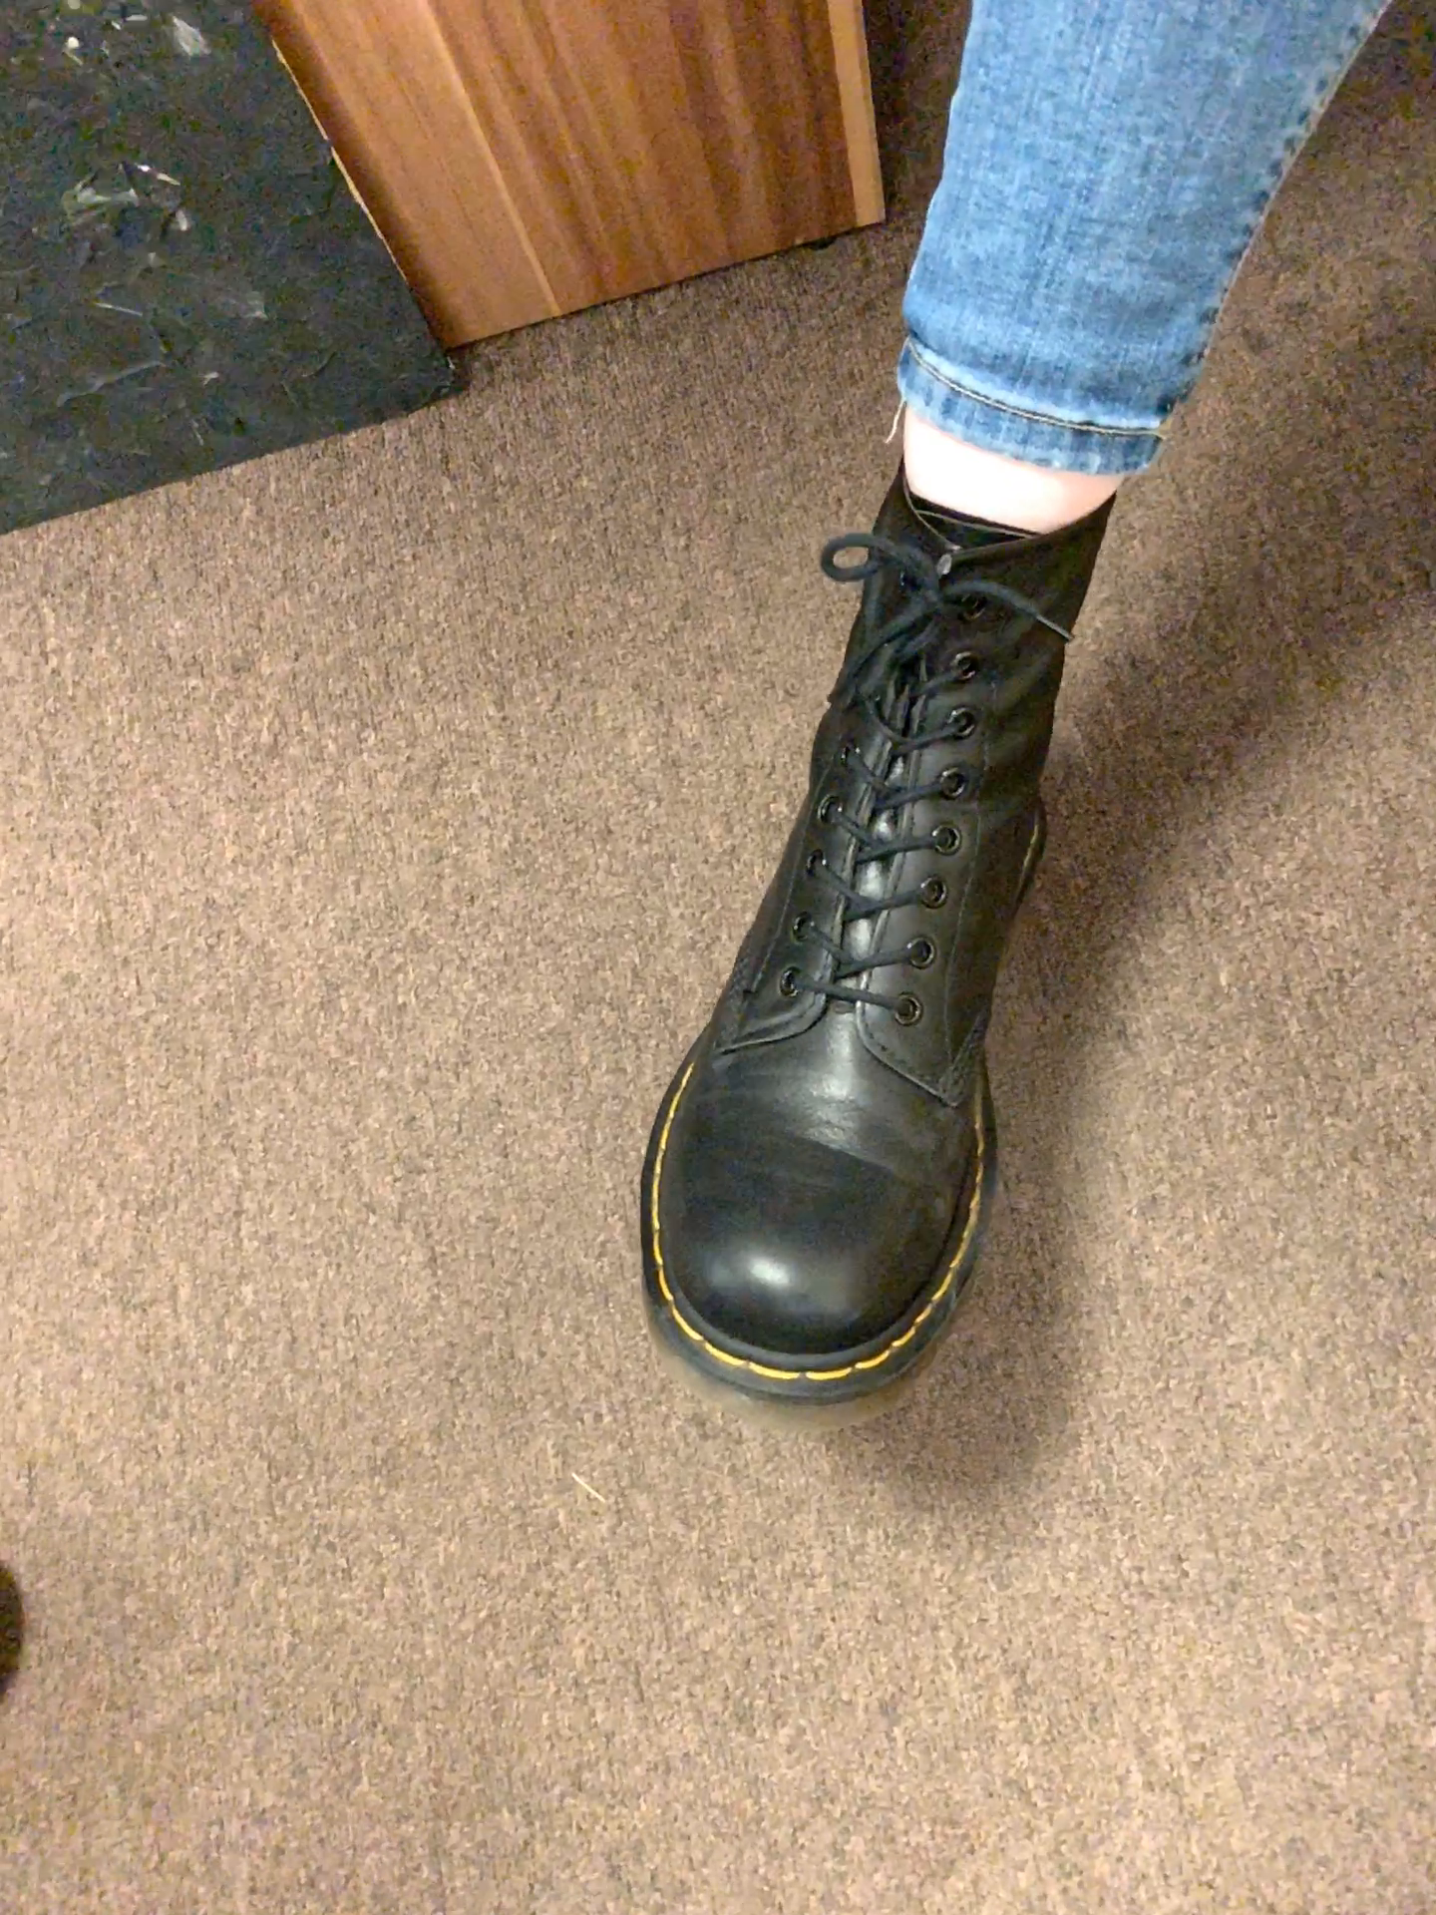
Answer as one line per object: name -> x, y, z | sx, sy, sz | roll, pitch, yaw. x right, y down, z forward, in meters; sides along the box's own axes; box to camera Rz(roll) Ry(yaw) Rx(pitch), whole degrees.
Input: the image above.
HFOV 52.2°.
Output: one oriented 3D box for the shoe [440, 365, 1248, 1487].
shoe -> 0.054, -0.028, 0.433 | 0.120, 0.150, 0.290 | 16, 50, 15
